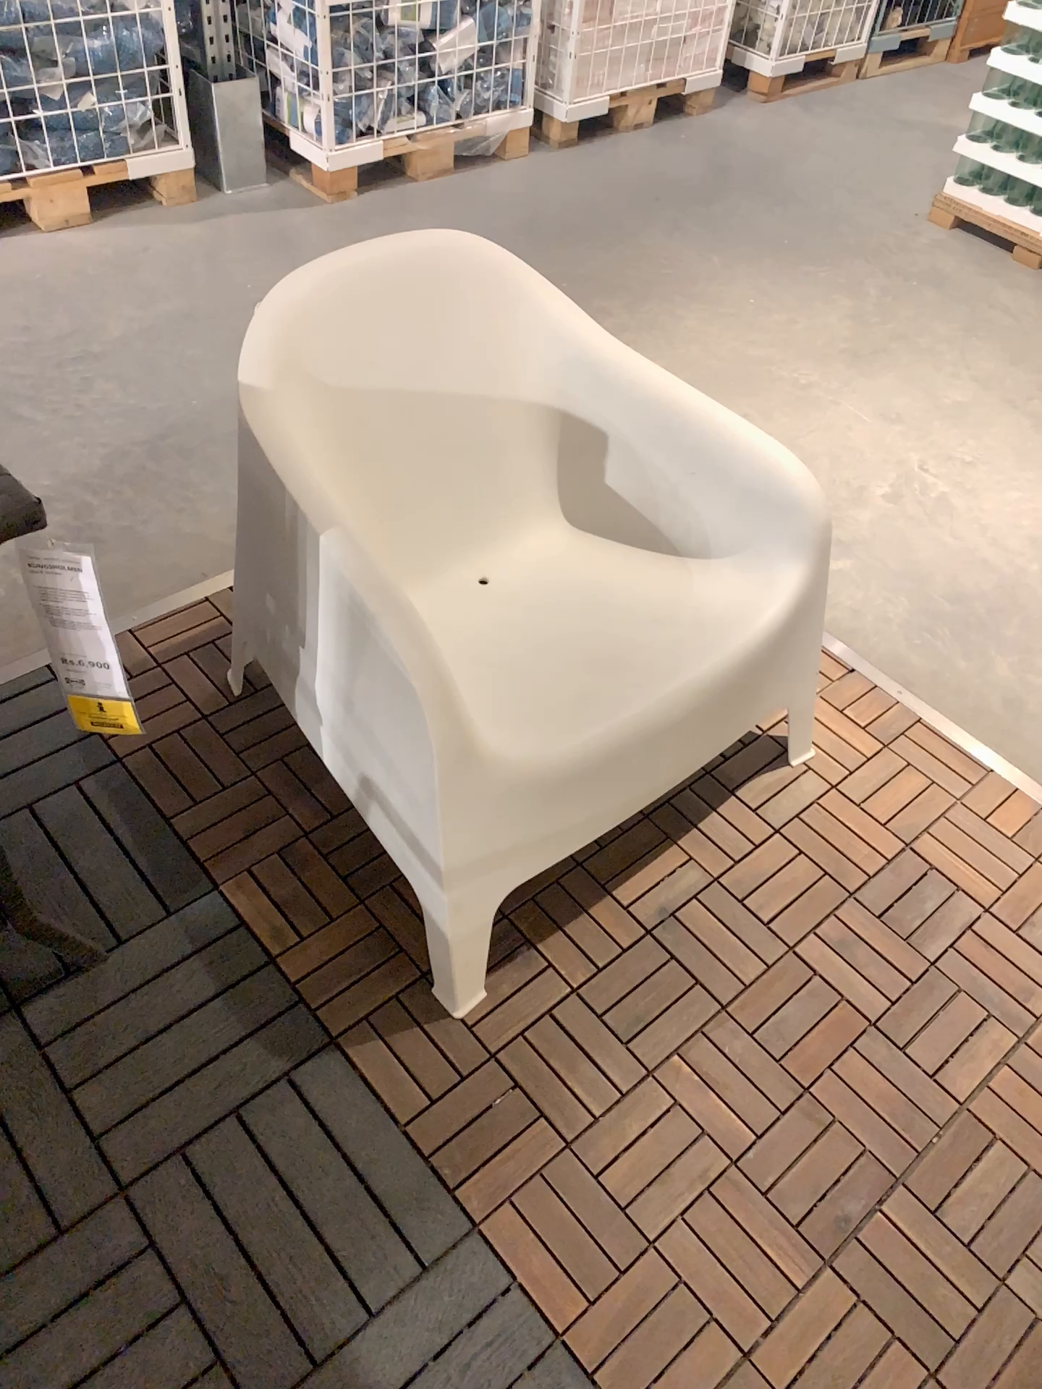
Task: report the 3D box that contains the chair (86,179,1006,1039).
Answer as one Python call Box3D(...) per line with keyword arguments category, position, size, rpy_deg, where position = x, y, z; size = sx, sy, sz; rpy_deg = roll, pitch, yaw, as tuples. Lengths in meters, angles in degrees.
Box3D(category="chair", position=(0.004, -0.177, 1.467), size=(0.771, 0.638, 0.761), rpy_deg=(-29, 57, -30))
